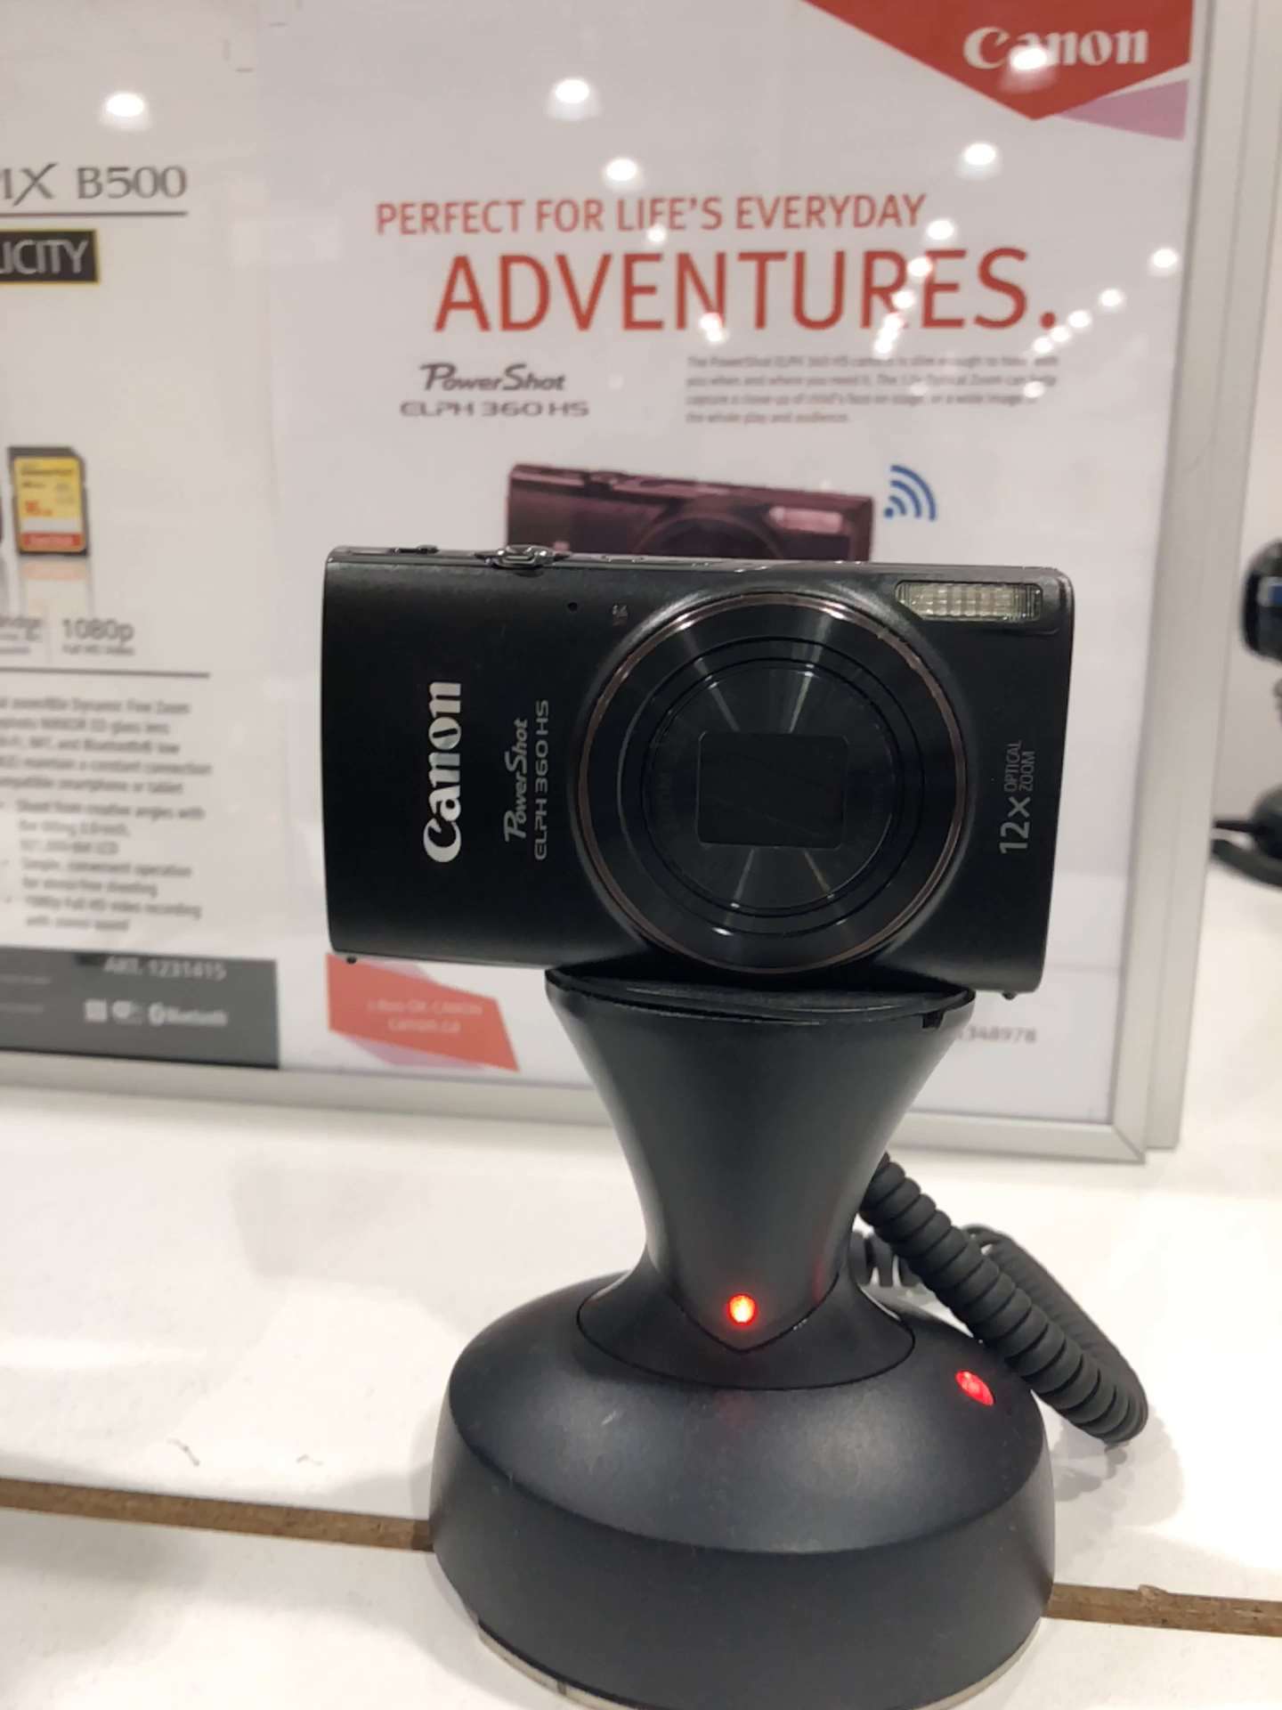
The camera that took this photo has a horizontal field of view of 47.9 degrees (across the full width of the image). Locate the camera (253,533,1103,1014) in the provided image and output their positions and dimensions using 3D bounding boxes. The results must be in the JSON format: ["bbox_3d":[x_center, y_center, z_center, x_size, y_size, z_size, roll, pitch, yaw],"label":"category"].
[{"bbox_3d":[0.004,-0.014,0.207,0.110,0.060,0.030,3,12,6],"label":"camera"}]
